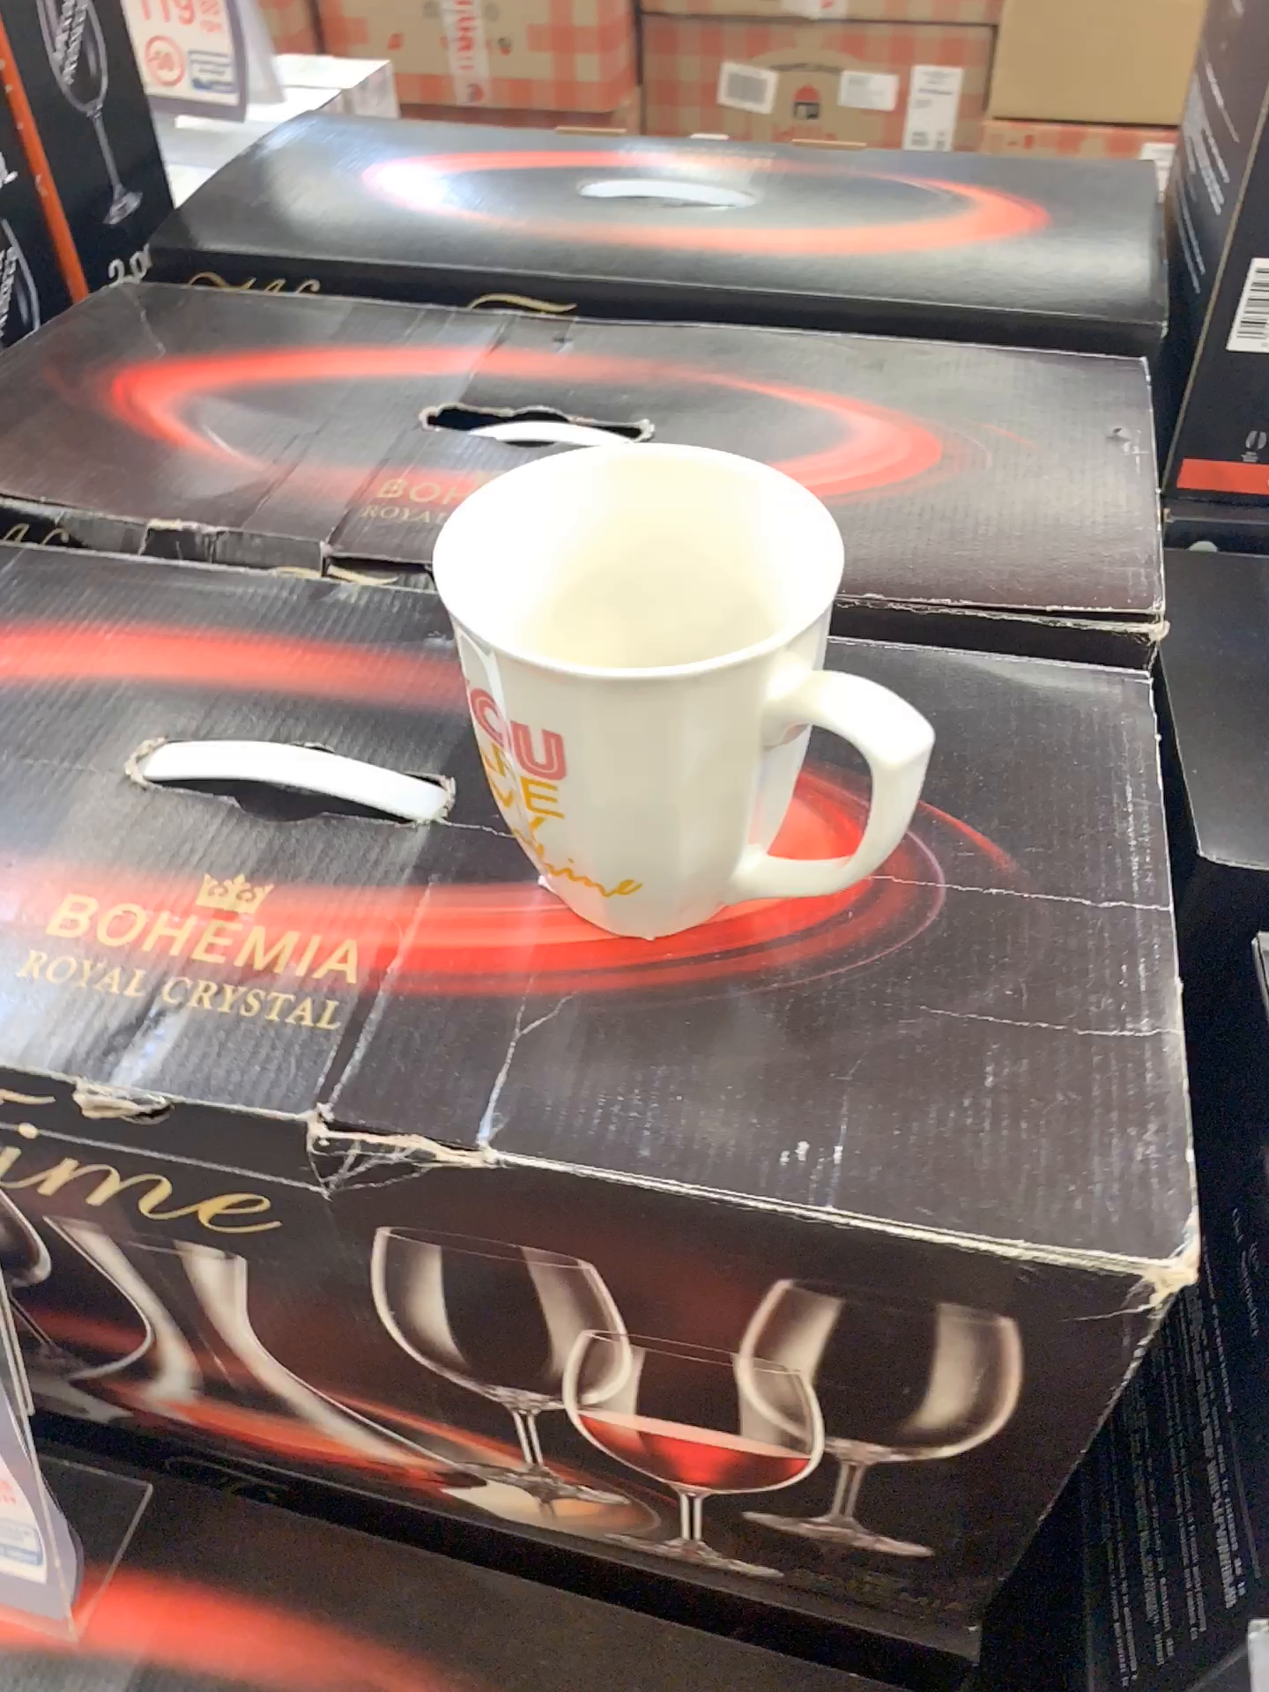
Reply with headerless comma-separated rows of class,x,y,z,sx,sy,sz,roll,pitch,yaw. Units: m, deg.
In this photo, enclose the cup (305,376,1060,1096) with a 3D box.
cup,0.008,-0.031,0.287,0.120,0.080,0.090,35,56,30
